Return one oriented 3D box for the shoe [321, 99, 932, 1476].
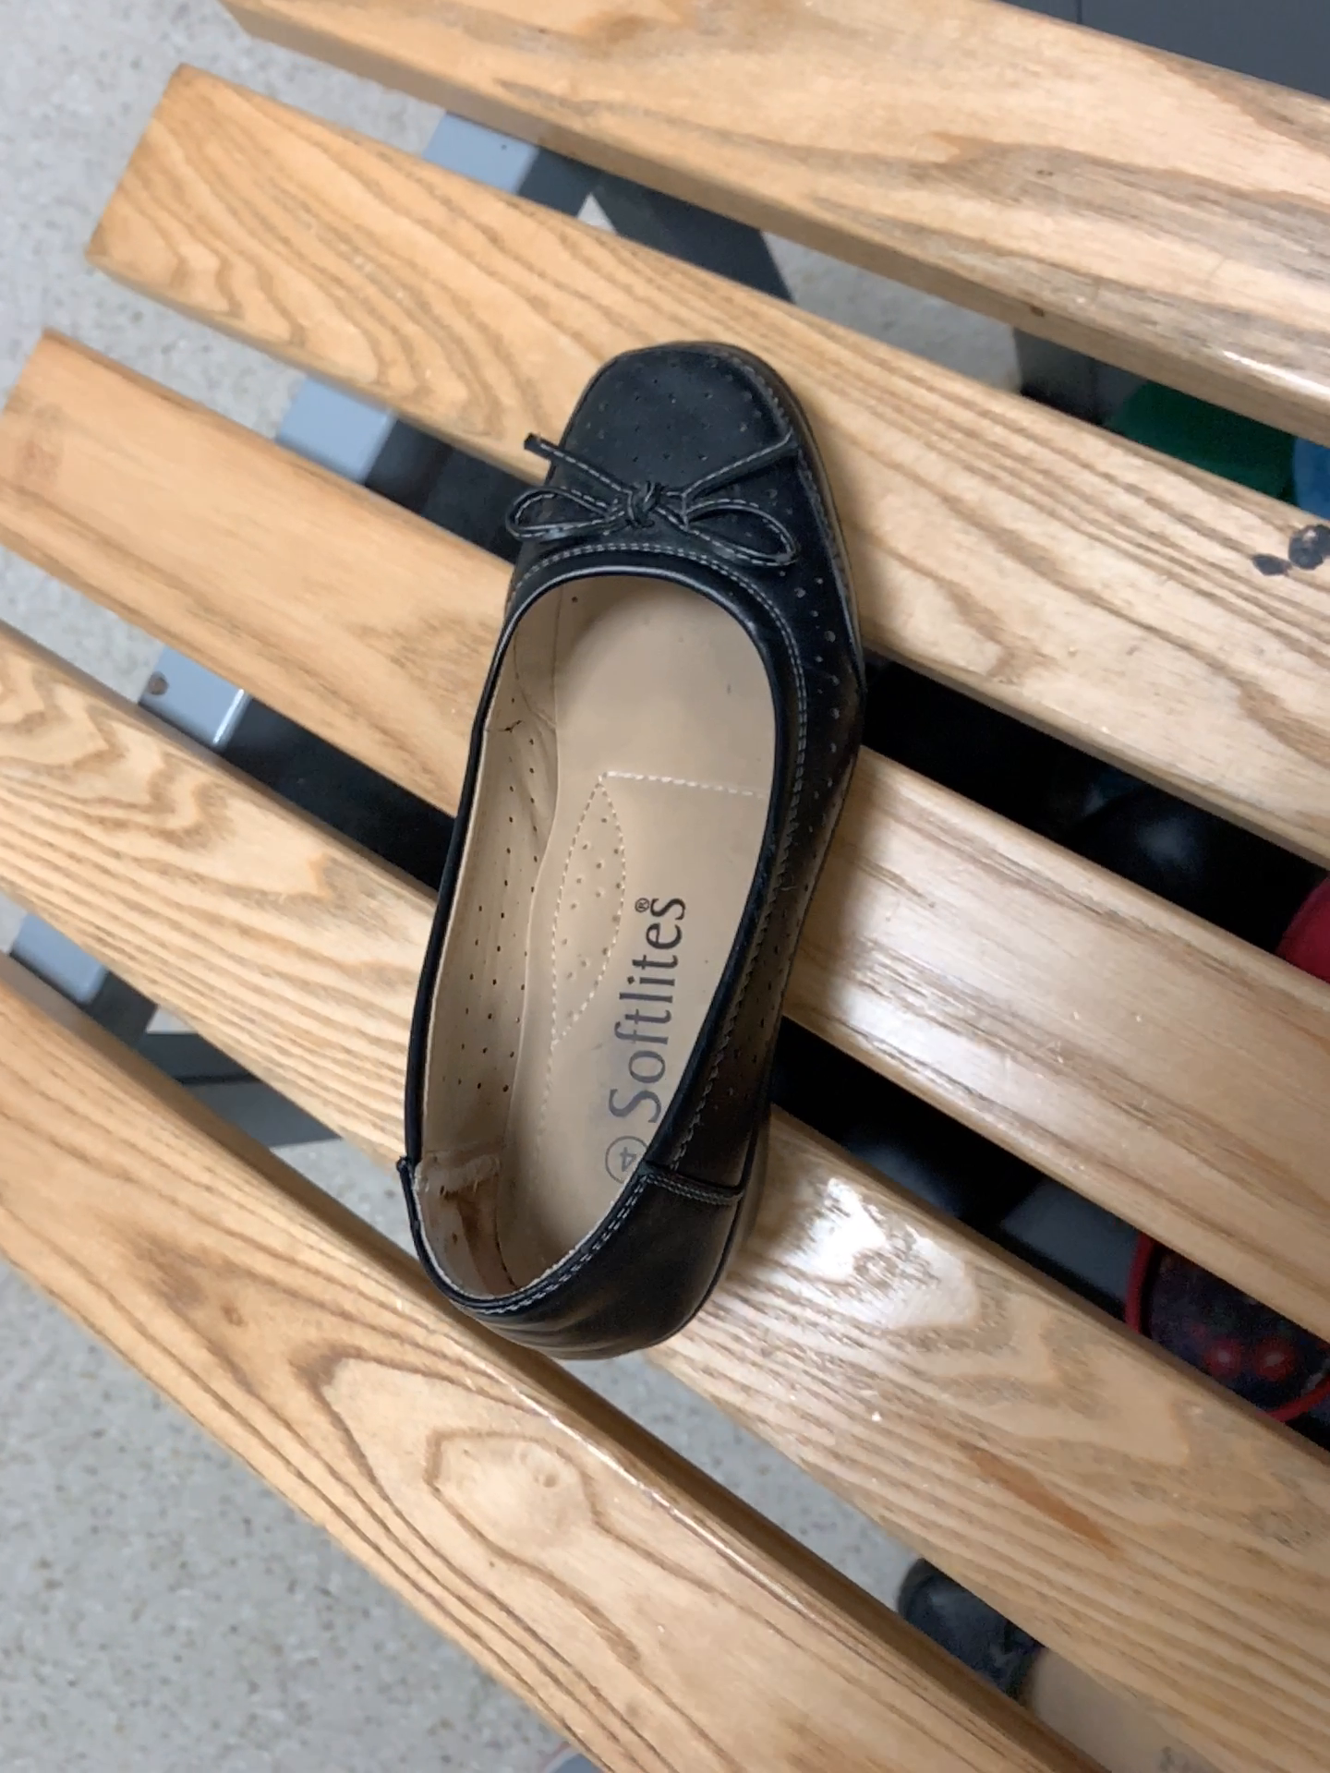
[{"bbox_3d":[0.004,-0.022,0.329,0.087,0.109,0.272,3,80,18],"label":"shoe"}]
